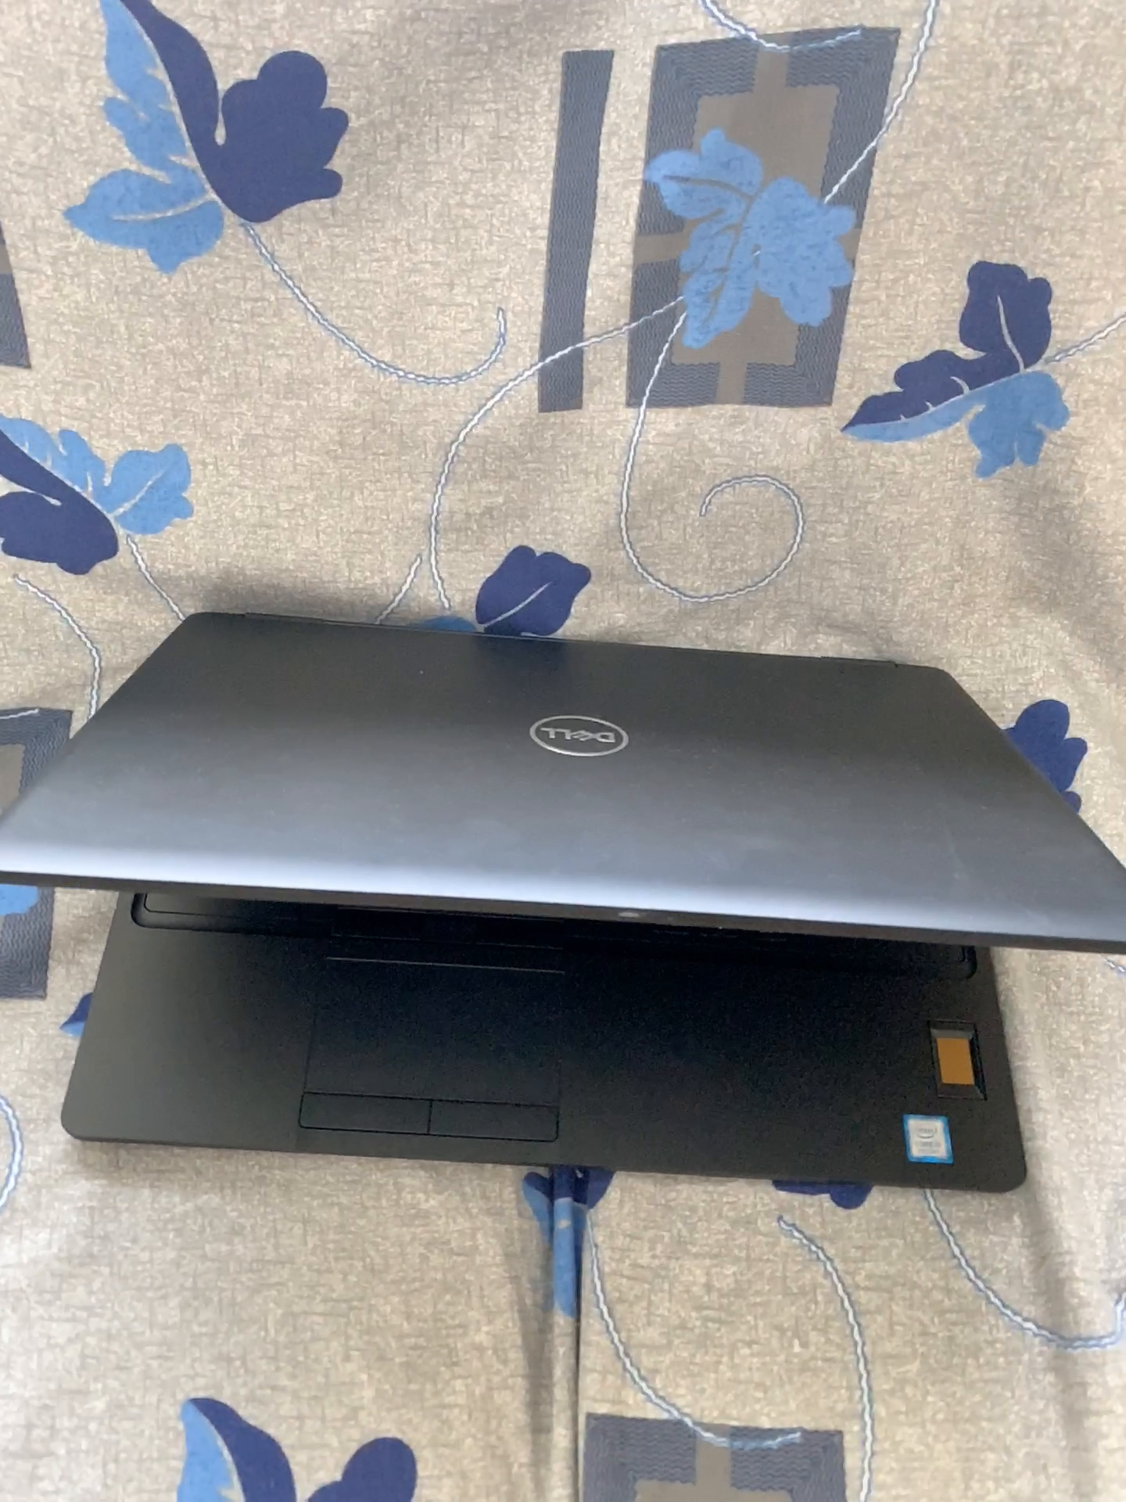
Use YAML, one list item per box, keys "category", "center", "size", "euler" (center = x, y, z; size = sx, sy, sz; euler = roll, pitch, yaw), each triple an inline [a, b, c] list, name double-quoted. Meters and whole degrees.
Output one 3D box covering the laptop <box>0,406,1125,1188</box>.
- category: "laptop"
  center: [0.005, 0.019, 0.438]
  size: [0.371, 0.142, 0.239]
  euler: [4, 59, -2]
